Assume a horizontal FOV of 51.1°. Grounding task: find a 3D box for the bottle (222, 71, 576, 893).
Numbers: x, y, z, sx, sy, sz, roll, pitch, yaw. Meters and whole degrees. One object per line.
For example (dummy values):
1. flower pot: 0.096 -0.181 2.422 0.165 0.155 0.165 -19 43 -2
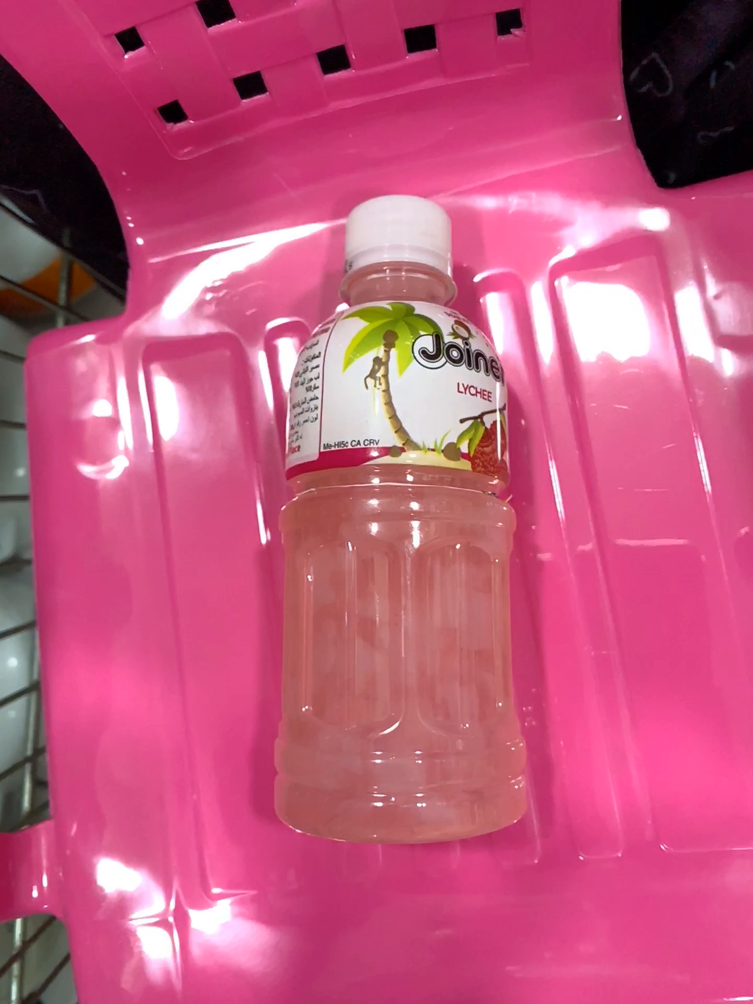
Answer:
1. bottle: 0.004 -0.004 0.203 0.060 0.060 0.170 -8 81 40
